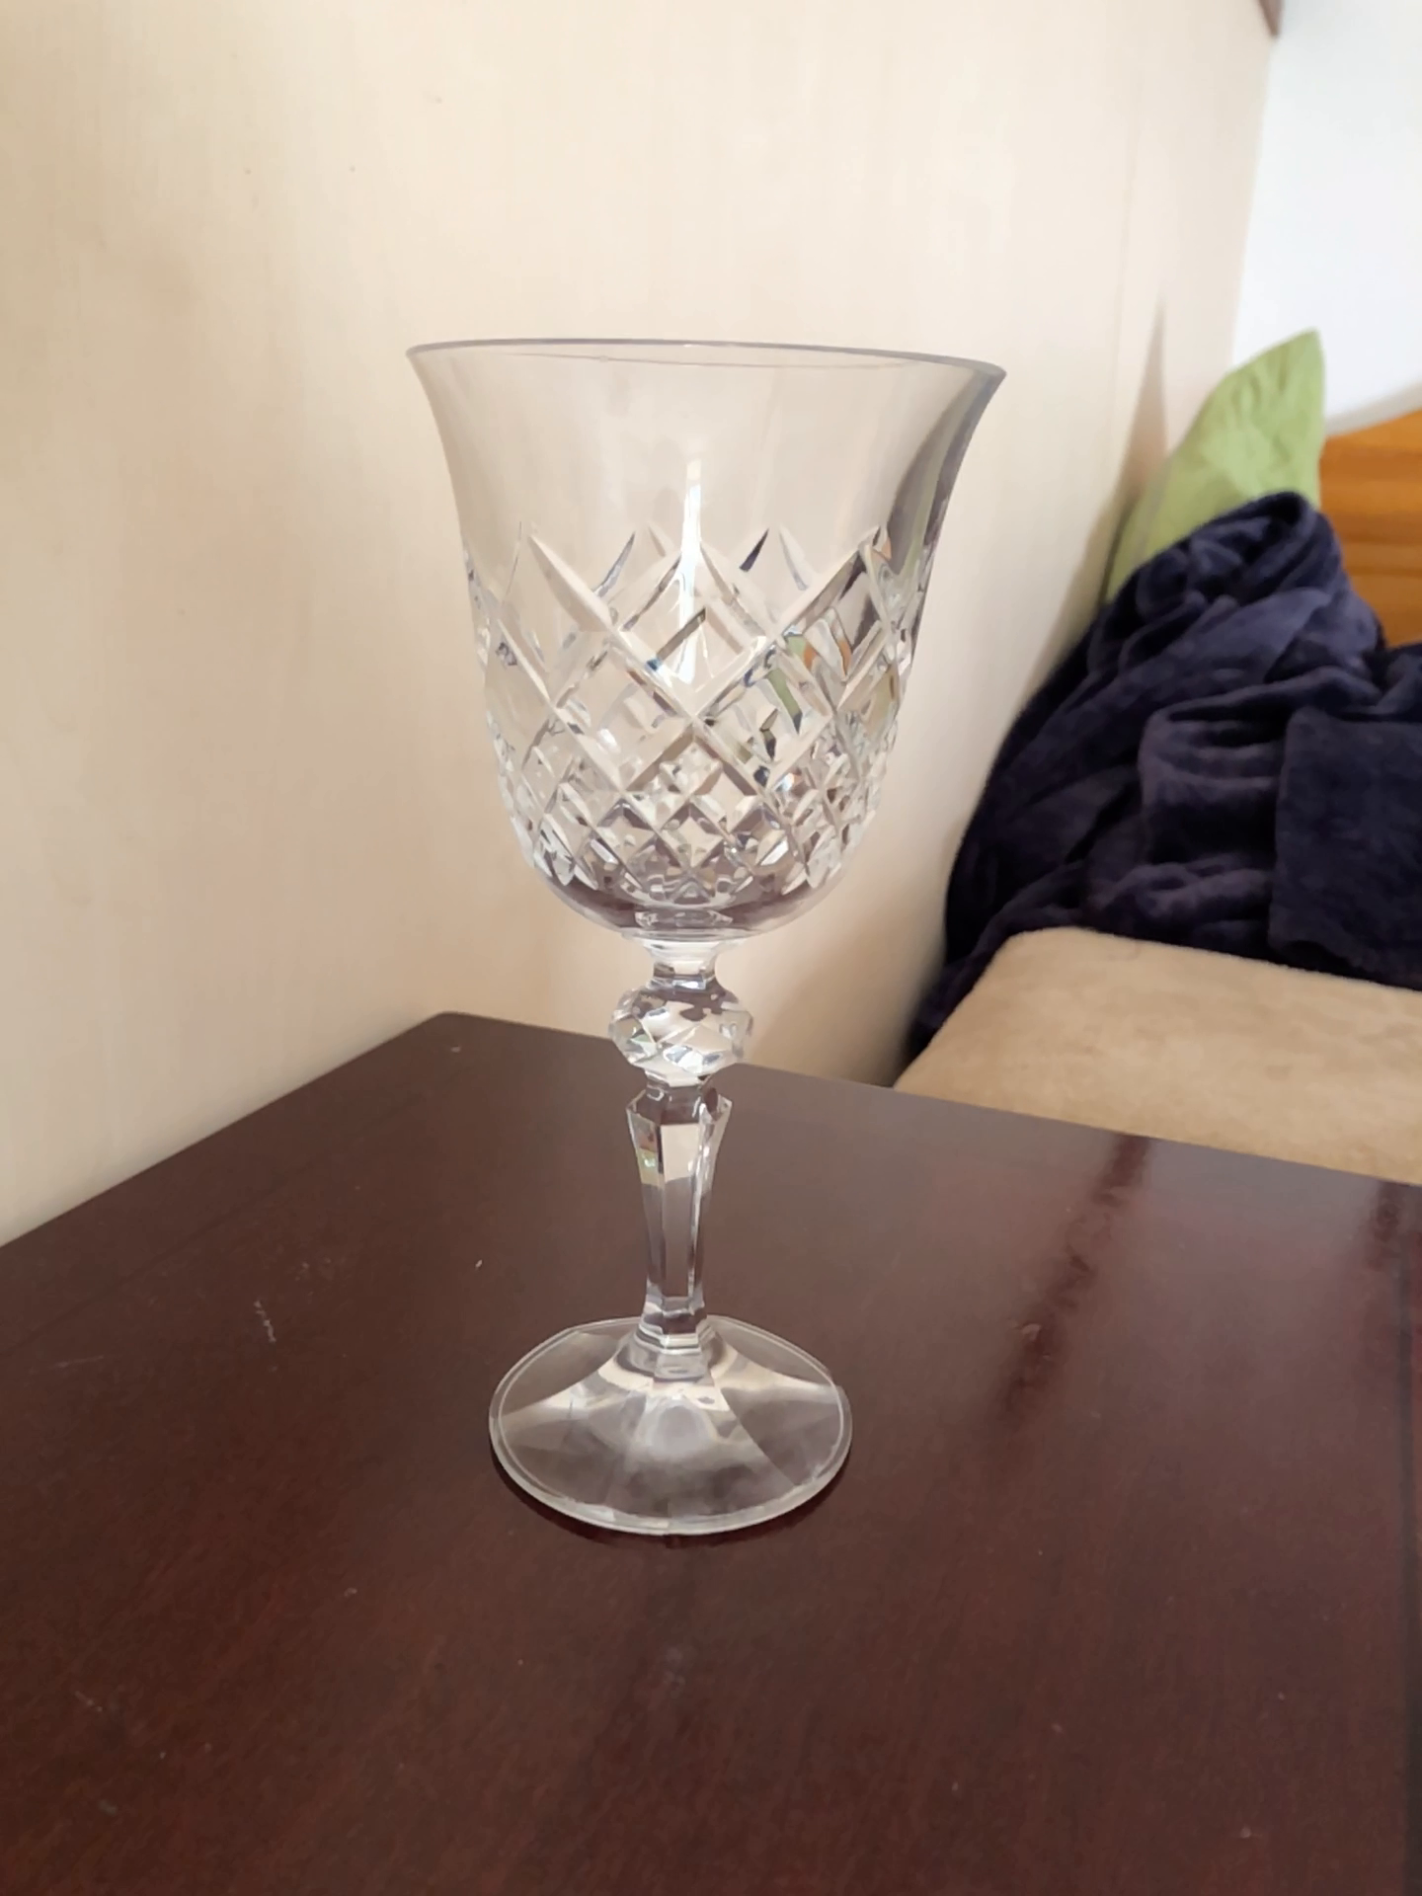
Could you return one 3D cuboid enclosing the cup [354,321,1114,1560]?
[{"bbox_3d":[-0.002,-0.004,0.256,0.091,0.171,0.092,2,16,-1],"label":"cup"}]
